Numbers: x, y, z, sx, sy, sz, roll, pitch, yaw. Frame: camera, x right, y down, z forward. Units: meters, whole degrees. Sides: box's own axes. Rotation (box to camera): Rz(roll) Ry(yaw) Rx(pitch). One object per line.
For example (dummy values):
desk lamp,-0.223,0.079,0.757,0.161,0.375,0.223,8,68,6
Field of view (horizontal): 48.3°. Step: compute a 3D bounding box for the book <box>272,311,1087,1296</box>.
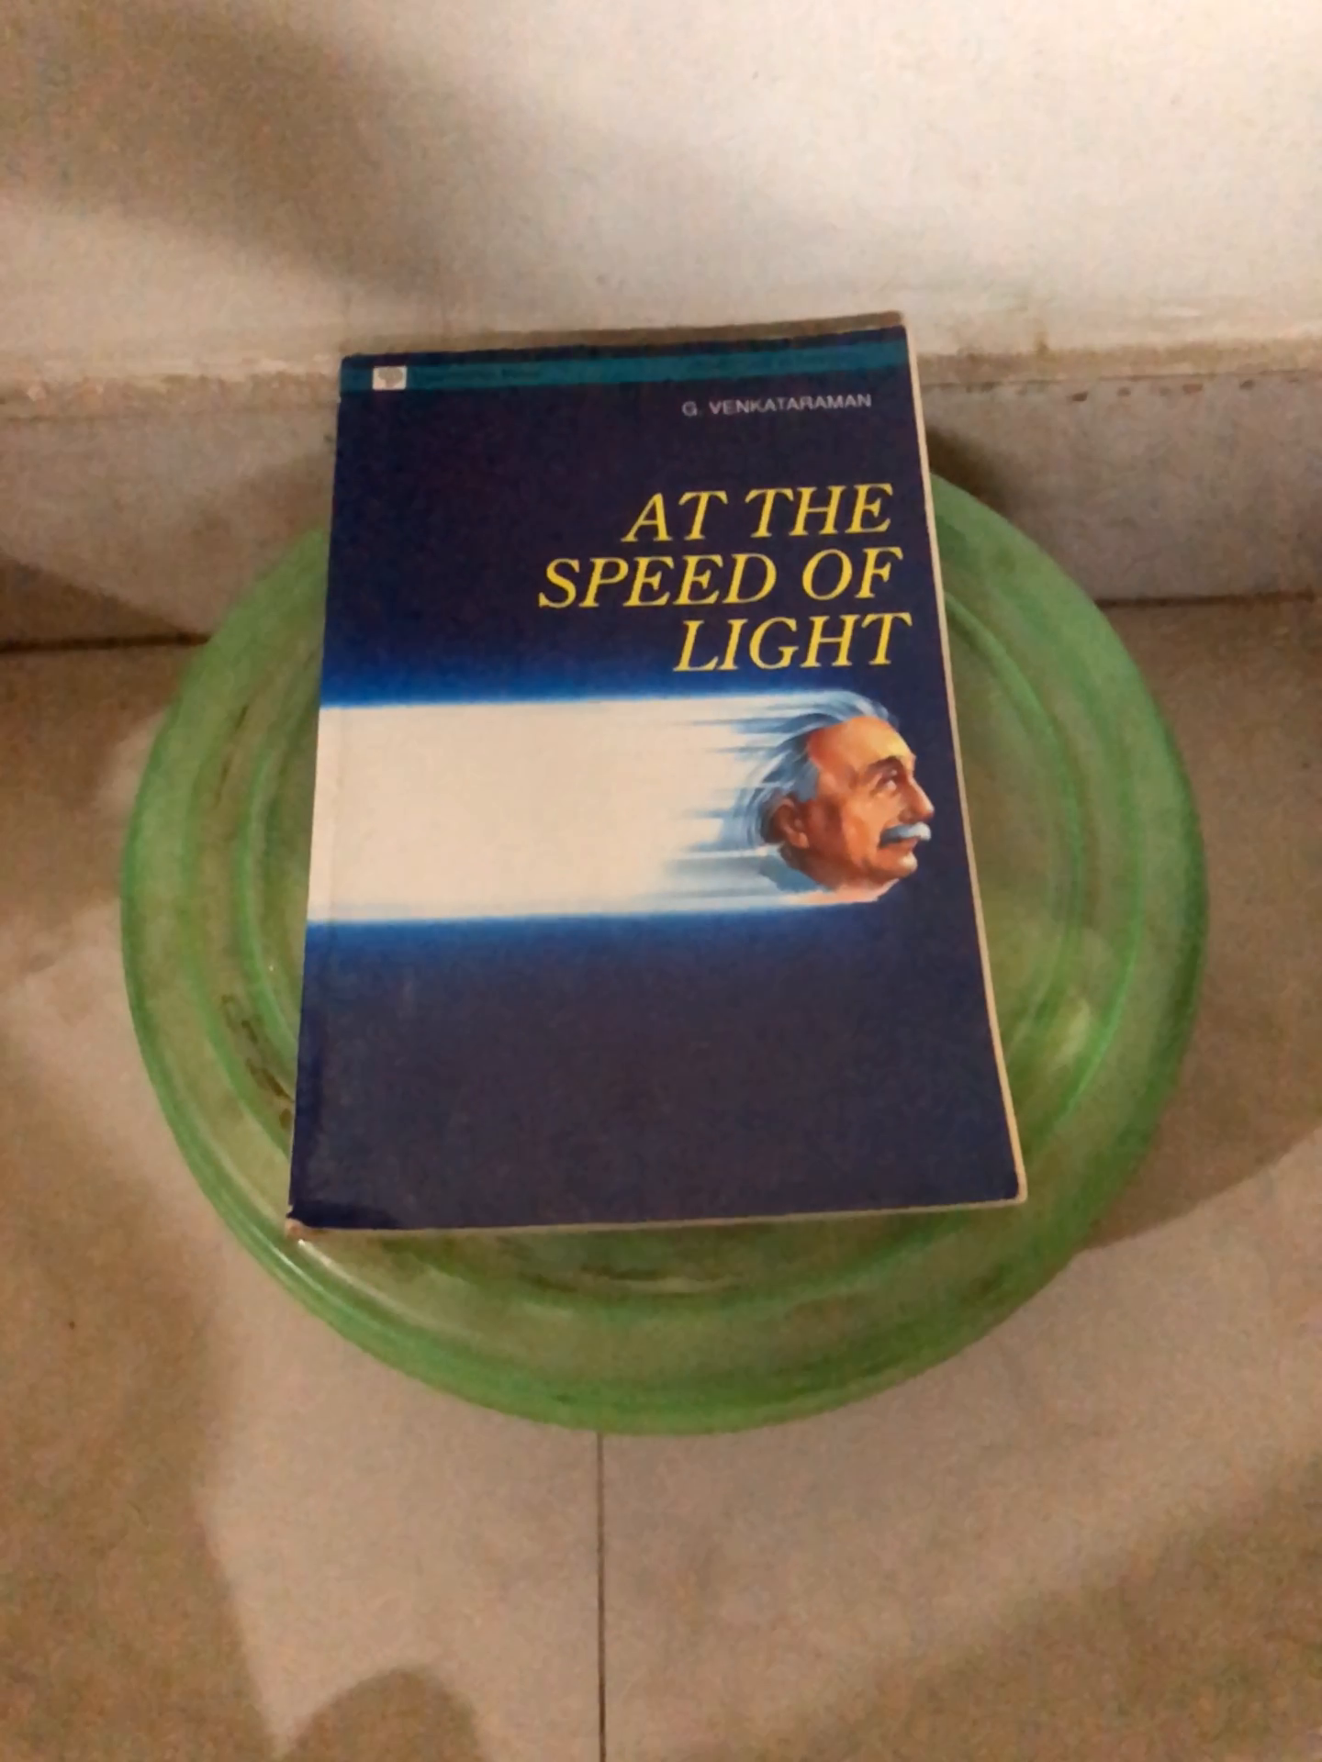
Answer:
book,-0.001,-0.031,0.329,0.150,0.020,0.230,-3,65,0
